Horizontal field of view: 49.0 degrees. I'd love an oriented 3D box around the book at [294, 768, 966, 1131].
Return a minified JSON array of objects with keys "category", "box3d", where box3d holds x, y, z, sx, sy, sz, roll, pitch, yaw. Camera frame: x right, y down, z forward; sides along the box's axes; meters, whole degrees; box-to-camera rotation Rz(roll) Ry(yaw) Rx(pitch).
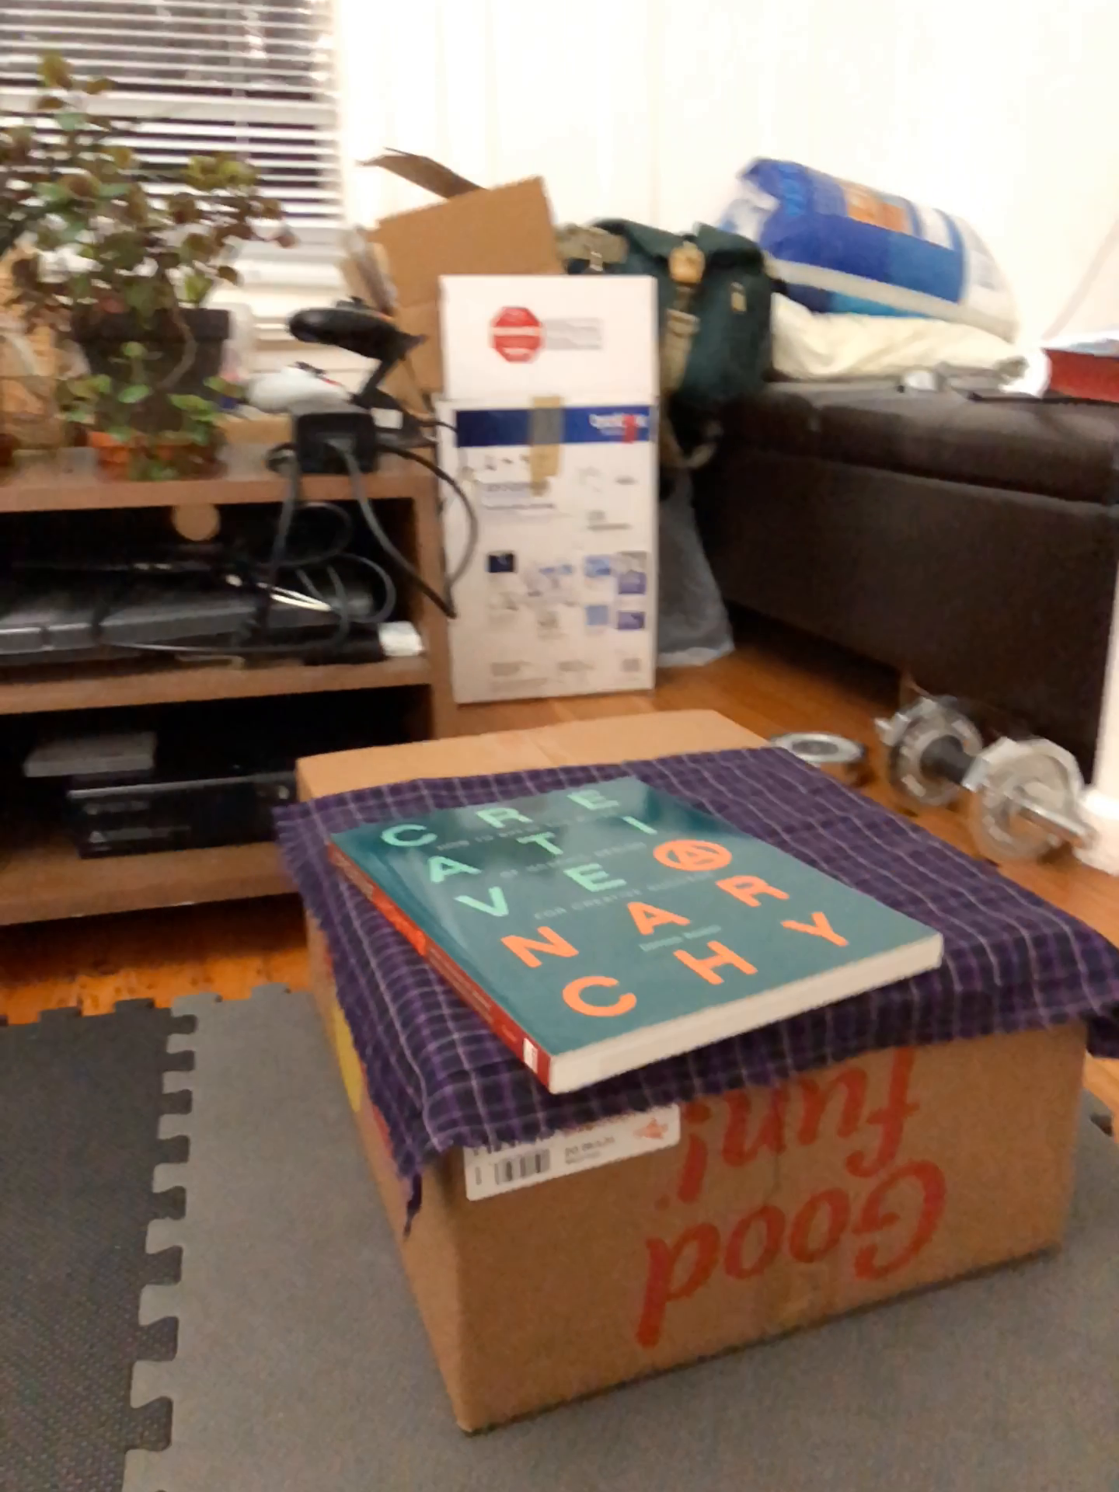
[{"category":"book","box3d":[0.016,0.080,0.638,0.220,0.020,0.301,-10,20,-28]}]
